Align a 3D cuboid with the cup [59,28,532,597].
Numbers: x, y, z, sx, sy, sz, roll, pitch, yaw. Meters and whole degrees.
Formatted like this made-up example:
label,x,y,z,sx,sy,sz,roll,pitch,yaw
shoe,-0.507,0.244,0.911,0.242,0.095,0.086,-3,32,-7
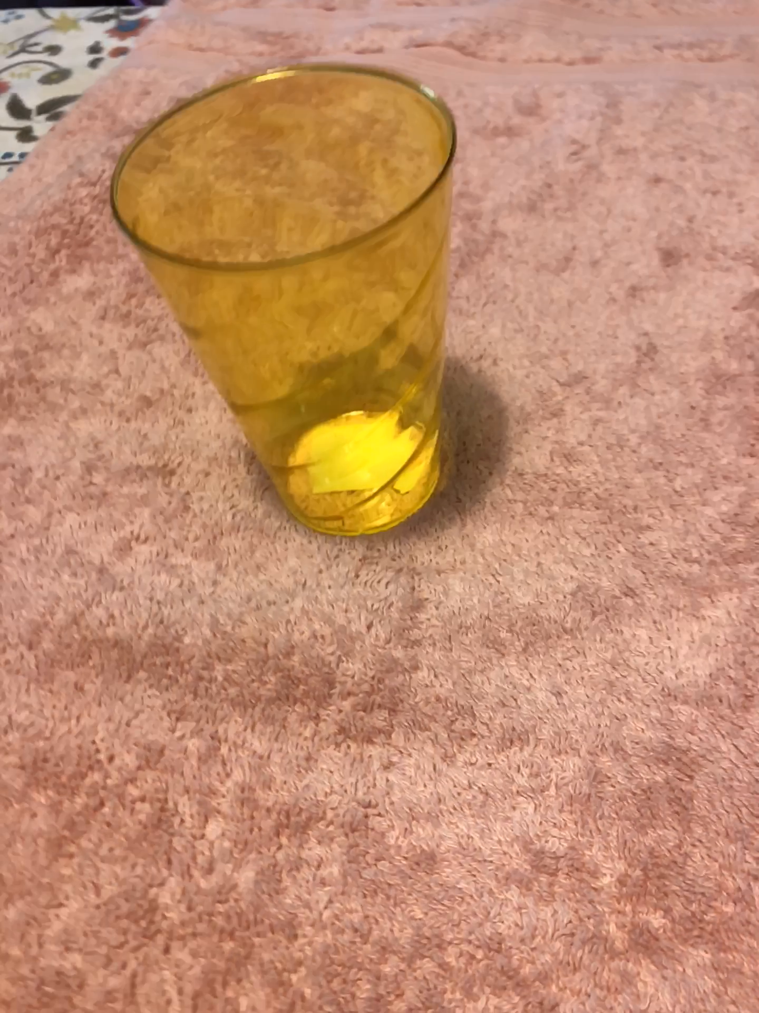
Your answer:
label,x,y,z,sx,sy,sz,roll,pitch,yaw
cup,-0.012,-0.050,0.241,0.080,0.119,0.080,-3,54,4
